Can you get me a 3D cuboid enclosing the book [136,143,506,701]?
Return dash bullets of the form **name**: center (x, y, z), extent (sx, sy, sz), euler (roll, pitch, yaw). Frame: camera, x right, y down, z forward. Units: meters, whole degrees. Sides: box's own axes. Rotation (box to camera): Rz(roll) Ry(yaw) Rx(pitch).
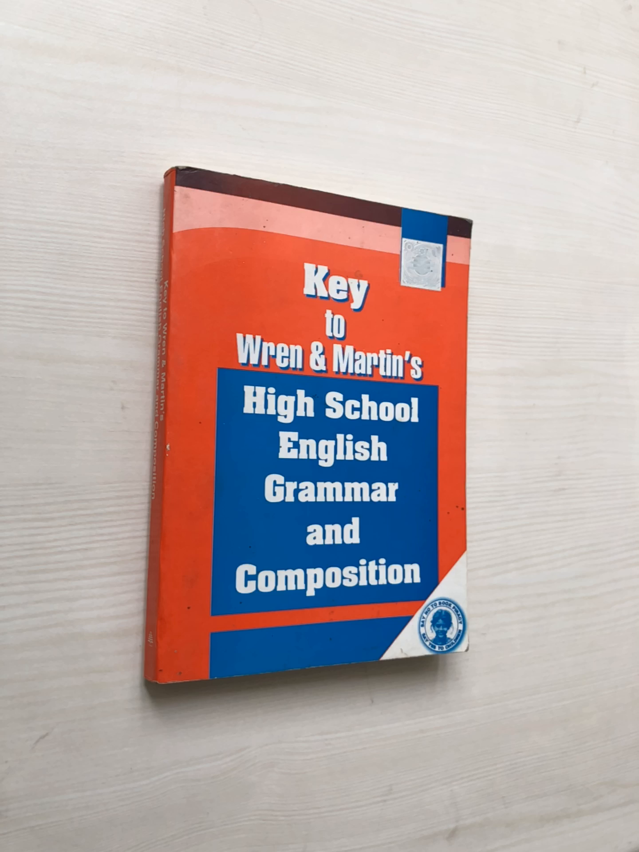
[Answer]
- **book**: center (0.006, 0.001, 0.259), extent (0.130, 0.030, 0.170), euler (4, 85, -26)
